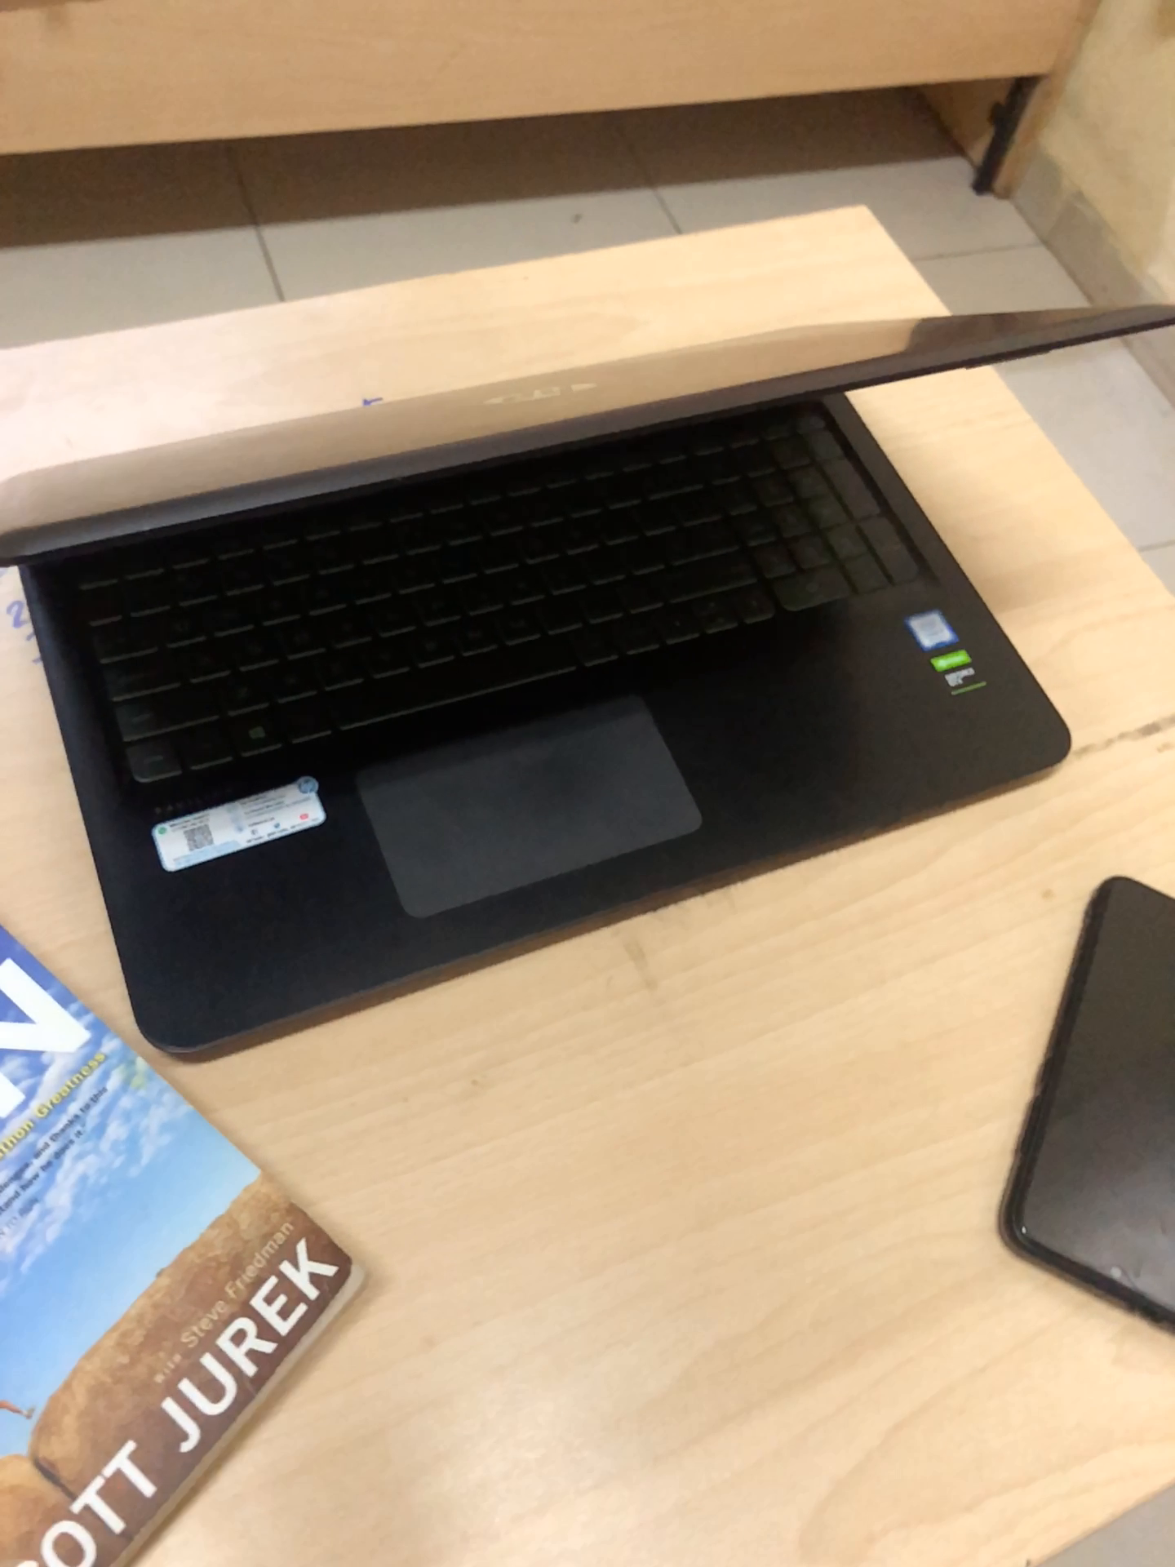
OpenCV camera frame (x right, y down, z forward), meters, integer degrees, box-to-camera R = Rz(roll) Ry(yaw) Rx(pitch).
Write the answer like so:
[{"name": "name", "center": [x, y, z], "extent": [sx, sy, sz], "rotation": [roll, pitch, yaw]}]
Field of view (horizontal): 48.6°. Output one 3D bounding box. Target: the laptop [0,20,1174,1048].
[{"name": "laptop", "center": [-0.003, -0.101, 0.458], "extent": [0.360, 0.167, 0.231], "rotation": [-17, 63, -18]}]
